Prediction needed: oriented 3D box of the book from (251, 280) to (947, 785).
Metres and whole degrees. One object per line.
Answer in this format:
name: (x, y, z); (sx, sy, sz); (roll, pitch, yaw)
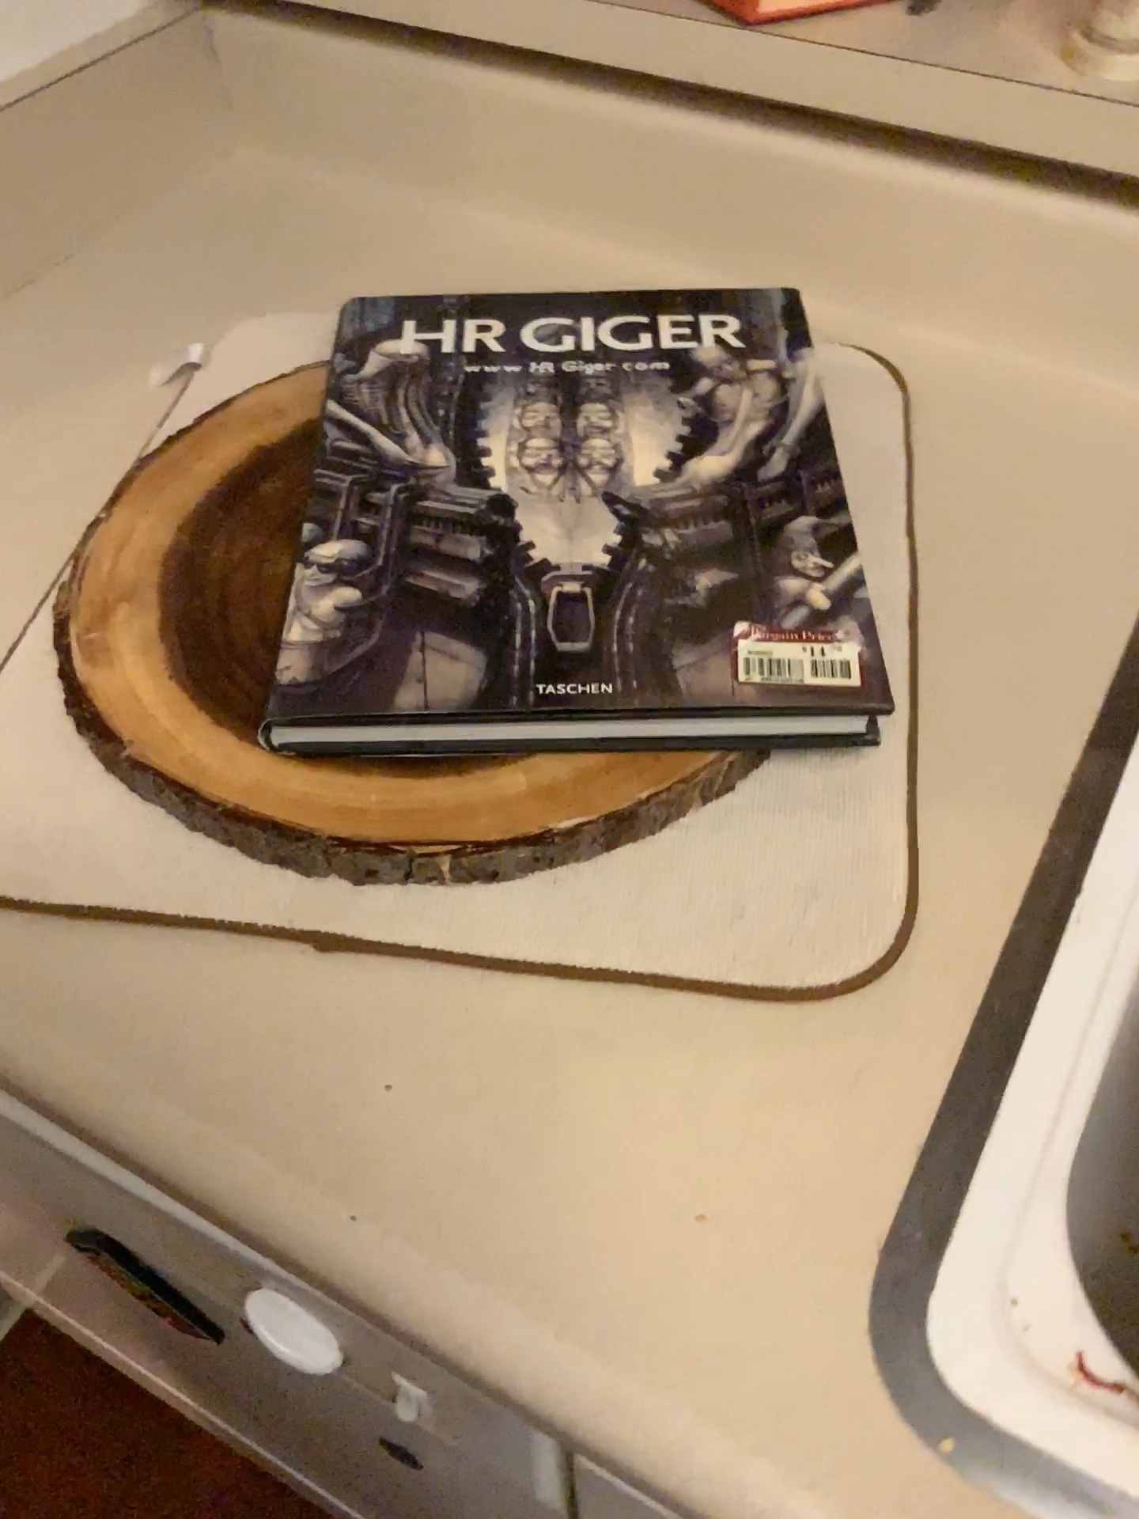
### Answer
book: (0.009, -0.128, 0.613); (0.270, 0.030, 0.330); (-1, 50, 0)
